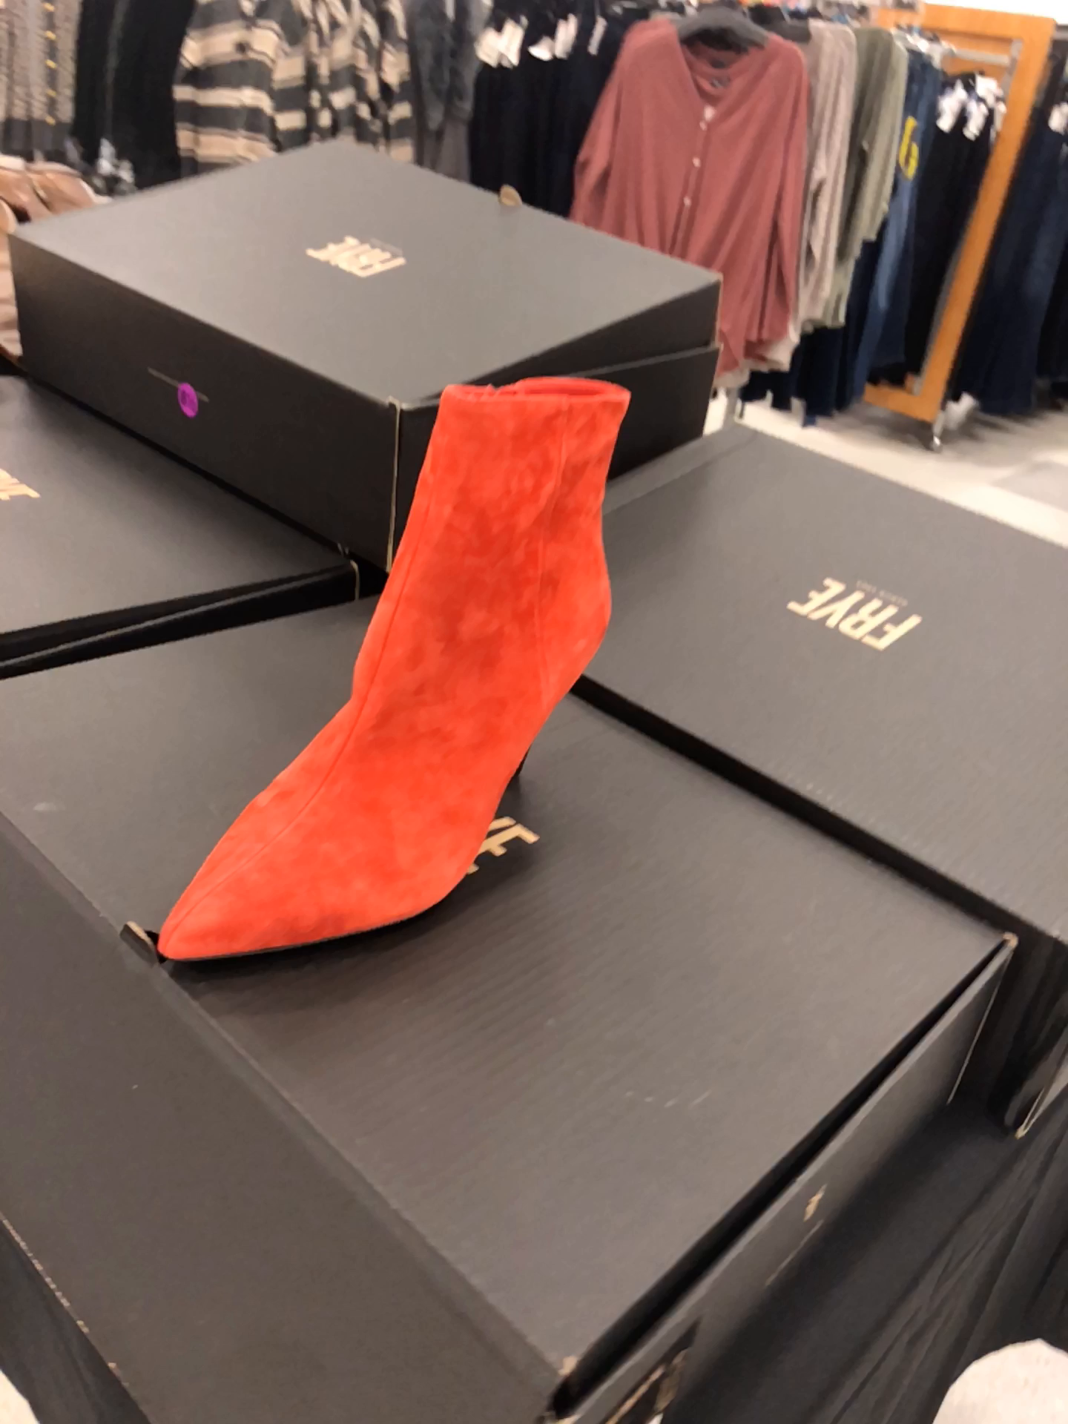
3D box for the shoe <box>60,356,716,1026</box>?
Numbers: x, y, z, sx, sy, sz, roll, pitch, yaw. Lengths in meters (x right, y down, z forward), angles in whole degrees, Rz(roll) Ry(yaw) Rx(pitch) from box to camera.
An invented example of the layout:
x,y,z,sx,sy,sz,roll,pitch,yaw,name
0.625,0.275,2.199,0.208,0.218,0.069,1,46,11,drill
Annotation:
x,y,z,sx,sy,sz,roll,pitch,yaw,name
-0.054,-0.032,0.506,0.100,0.211,0.262,27,29,29,shoe
